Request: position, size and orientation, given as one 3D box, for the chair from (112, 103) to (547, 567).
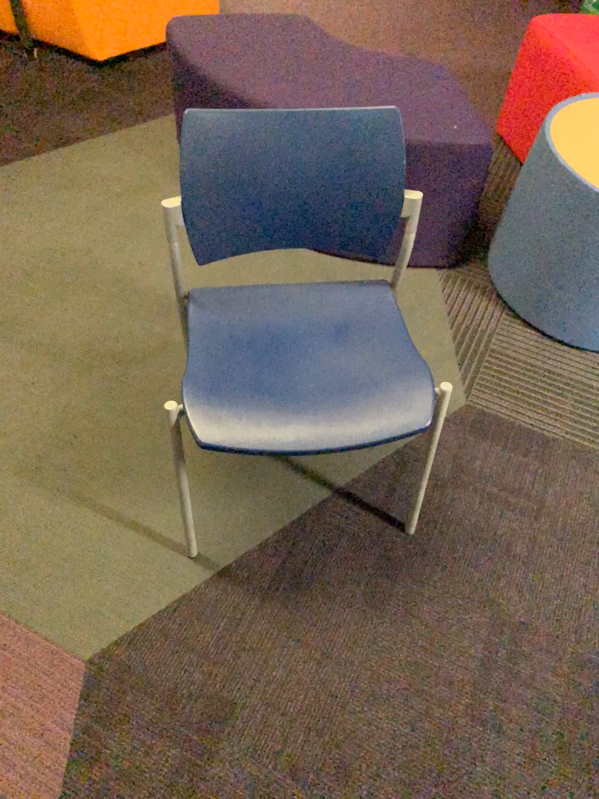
[{"bbox_3d":[0.000,-0.104,1.226,0.560,0.694,0.575,-4,52,-6],"label":"chair"}]
